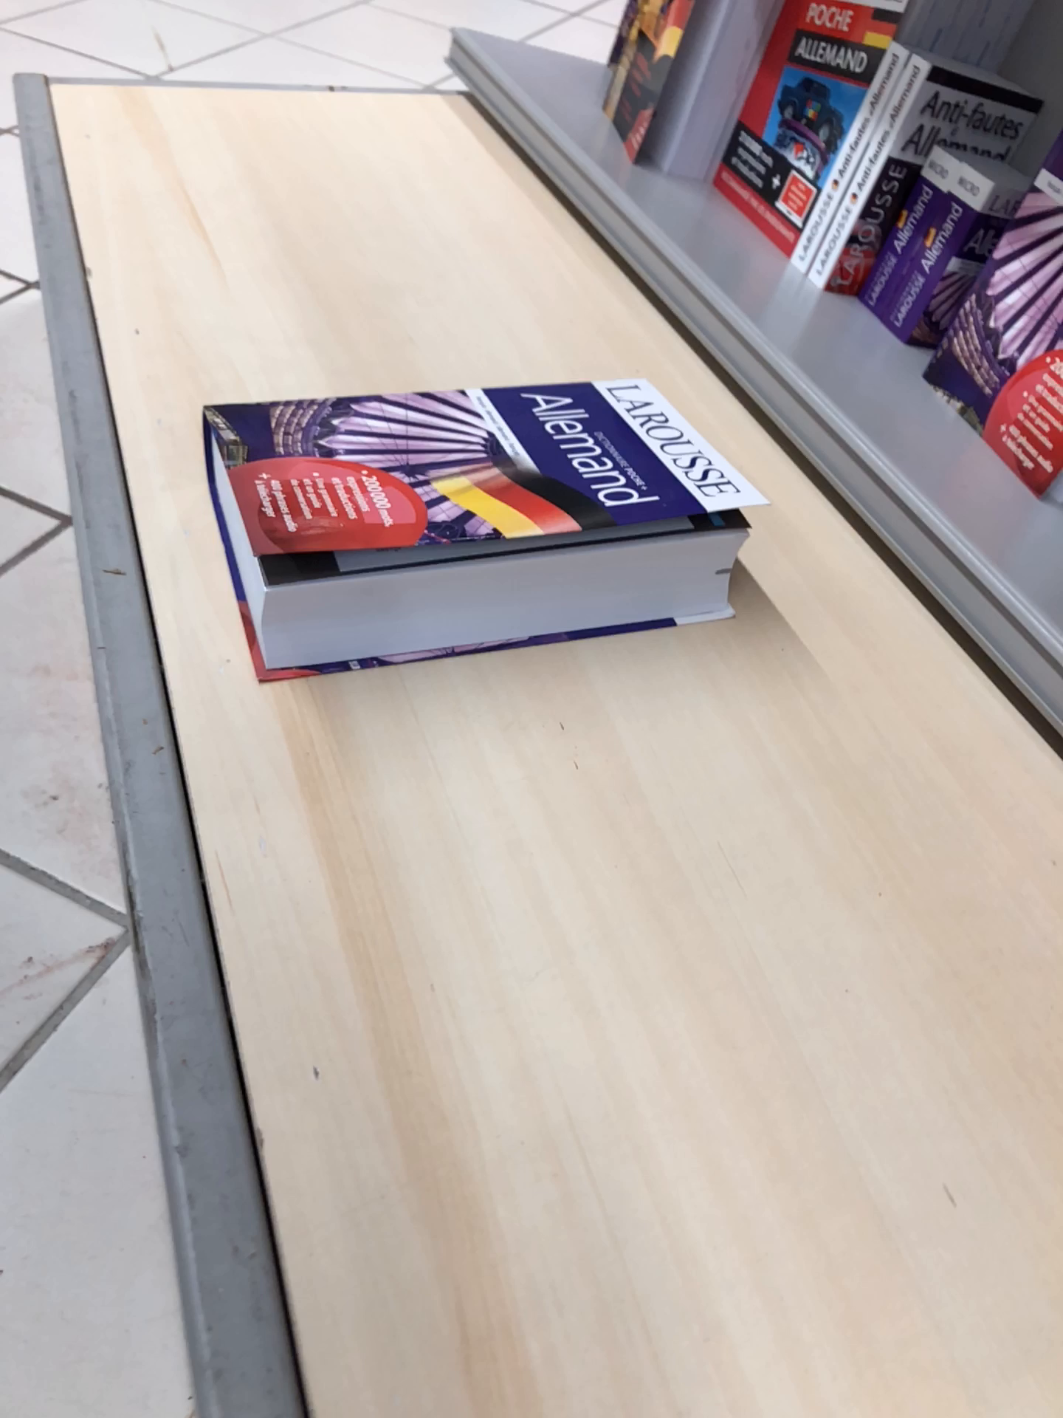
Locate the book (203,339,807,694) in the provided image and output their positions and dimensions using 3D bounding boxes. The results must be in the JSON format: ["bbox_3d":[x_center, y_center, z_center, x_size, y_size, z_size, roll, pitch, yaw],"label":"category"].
[{"bbox_3d":[-0.015,-0.077,0.420,0.181,0.050,0.120,-9,46,-18],"label":"book"}]
